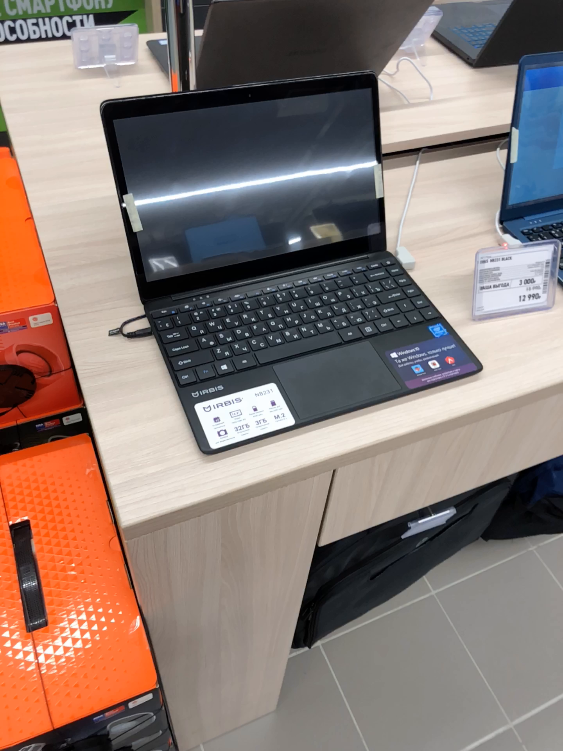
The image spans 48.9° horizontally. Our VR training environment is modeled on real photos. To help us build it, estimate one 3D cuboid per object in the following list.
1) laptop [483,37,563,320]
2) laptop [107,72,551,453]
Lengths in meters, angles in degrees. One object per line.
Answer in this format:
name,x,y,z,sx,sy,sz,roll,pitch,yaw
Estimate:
laptop,0.479,-0.259,0.771,0.308,0.186,0.266,-15,51,-17
laptop,0.021,-0.136,0.626,0.304,0.172,0.307,-15,52,-18
